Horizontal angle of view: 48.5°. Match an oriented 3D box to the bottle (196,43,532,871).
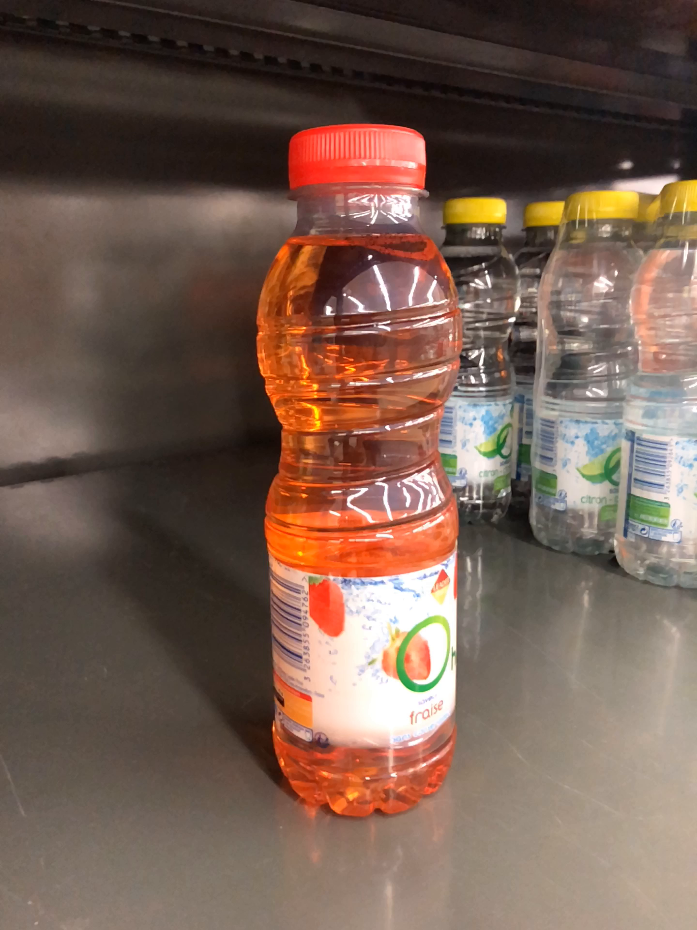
[{"bbox_3d":[0.006,0.000,0.235,0.070,0.209,0.060,-11,16,-38],"label":"bottle"}]
